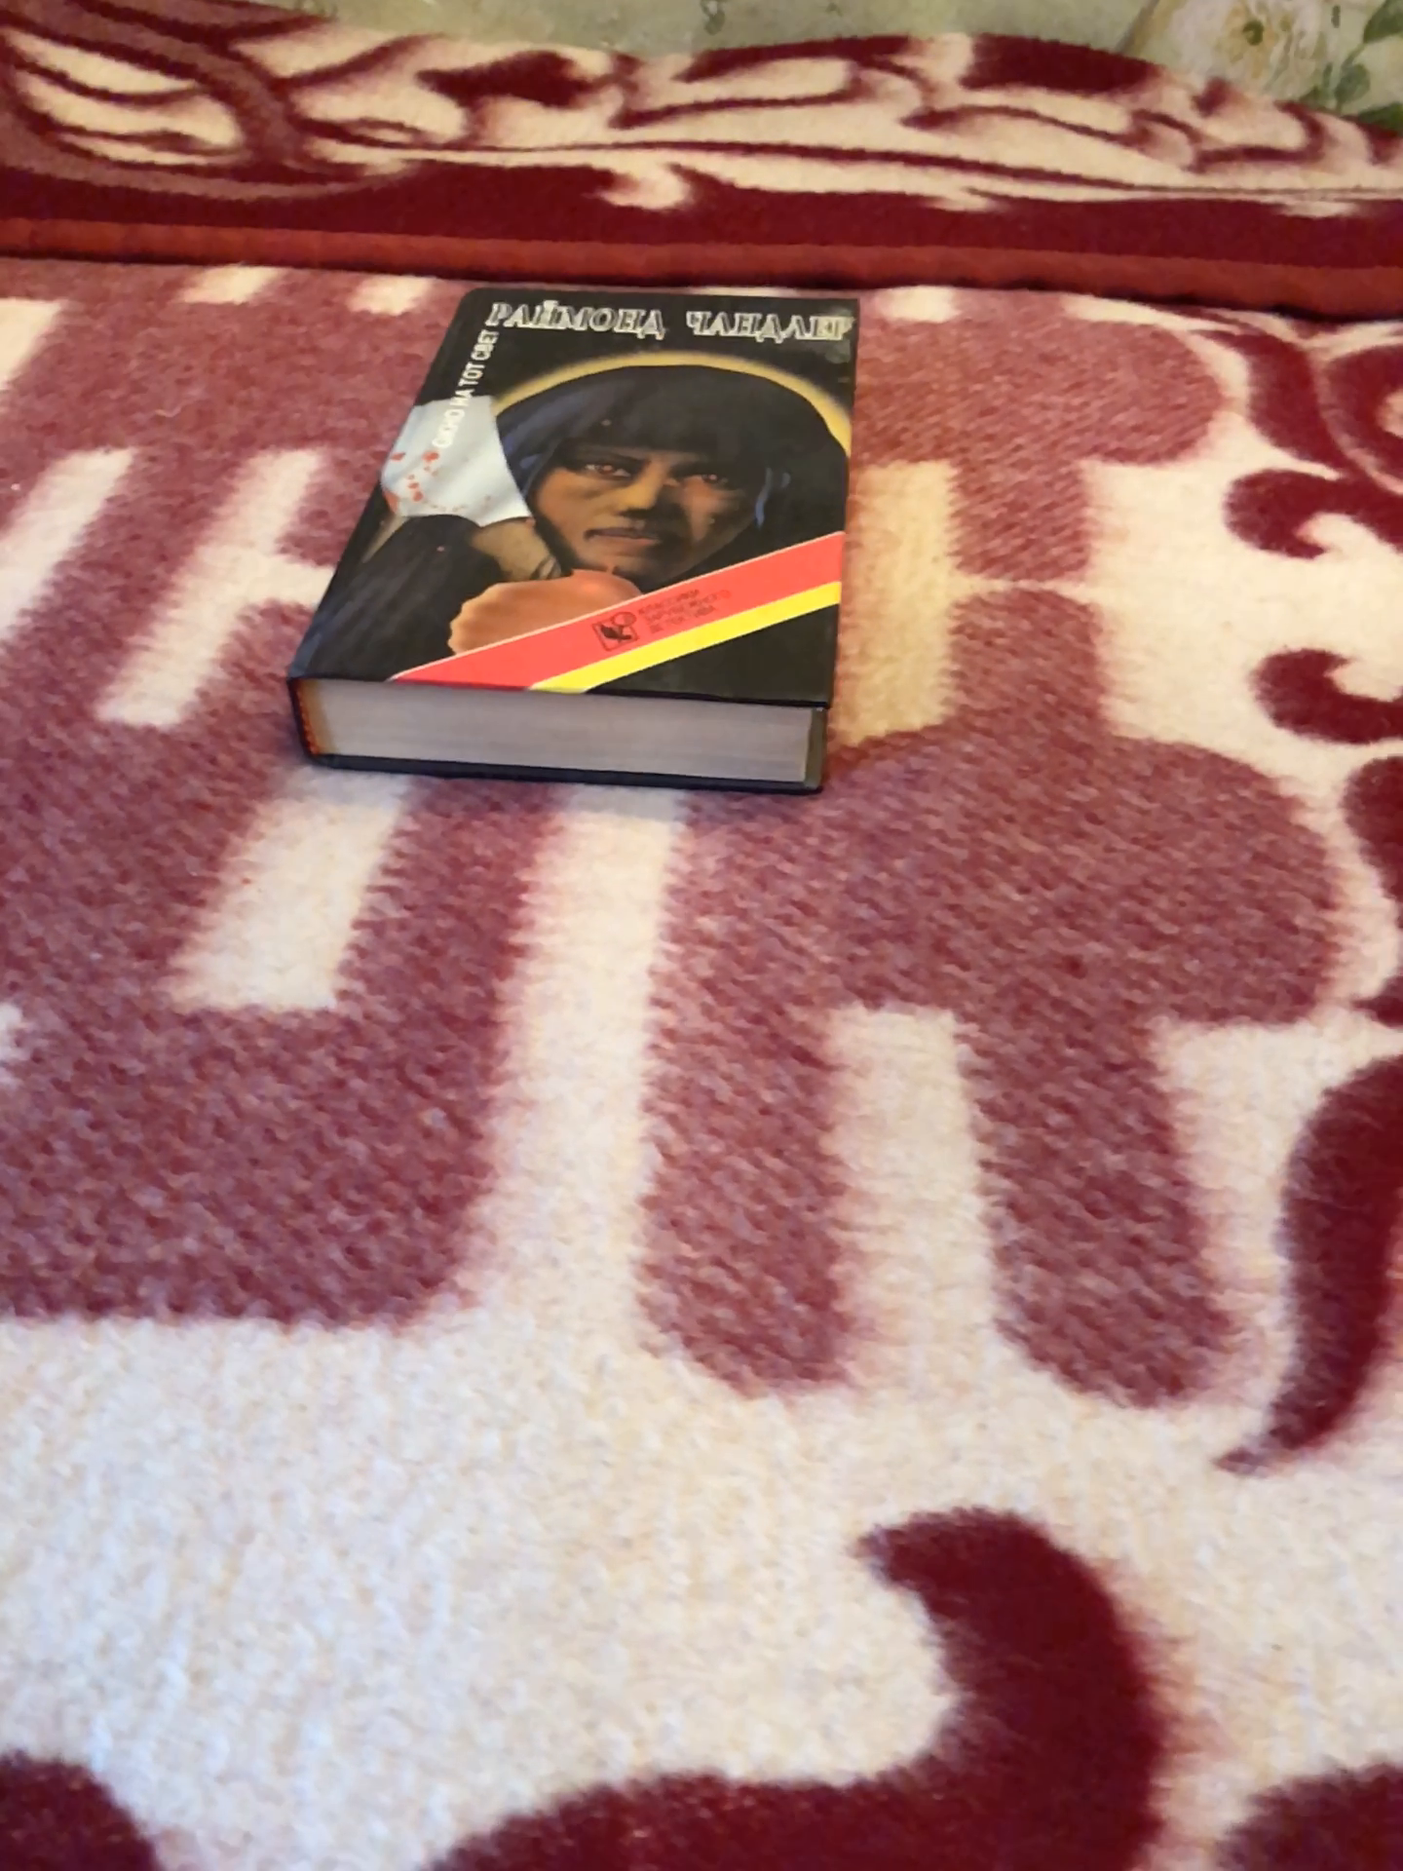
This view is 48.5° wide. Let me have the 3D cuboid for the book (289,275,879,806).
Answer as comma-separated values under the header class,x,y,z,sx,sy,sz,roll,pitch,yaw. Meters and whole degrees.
class,x,y,z,sx,sy,sz,roll,pitch,yaw
book,-0.020,-0.123,0.443,0.133,0.032,0.209,4,47,4
